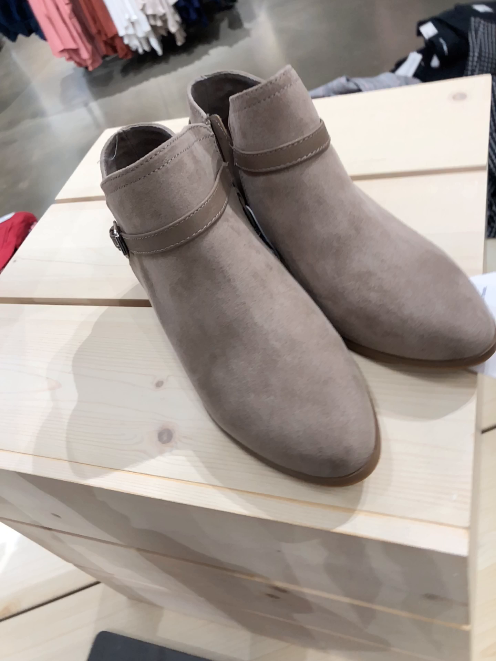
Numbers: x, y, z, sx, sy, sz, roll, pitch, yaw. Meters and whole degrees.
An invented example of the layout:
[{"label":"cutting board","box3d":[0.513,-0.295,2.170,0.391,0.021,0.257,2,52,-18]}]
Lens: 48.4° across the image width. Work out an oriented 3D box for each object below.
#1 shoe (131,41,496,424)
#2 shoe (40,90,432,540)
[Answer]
[{"label":"shoe","box3d":[0.040,-0.078,0.334,0.090,0.110,0.251,-36,47,-10]},{"label":"shoe","box3d":[-0.021,-0.030,0.313,0.090,0.110,0.251,-33,46,-7]}]
